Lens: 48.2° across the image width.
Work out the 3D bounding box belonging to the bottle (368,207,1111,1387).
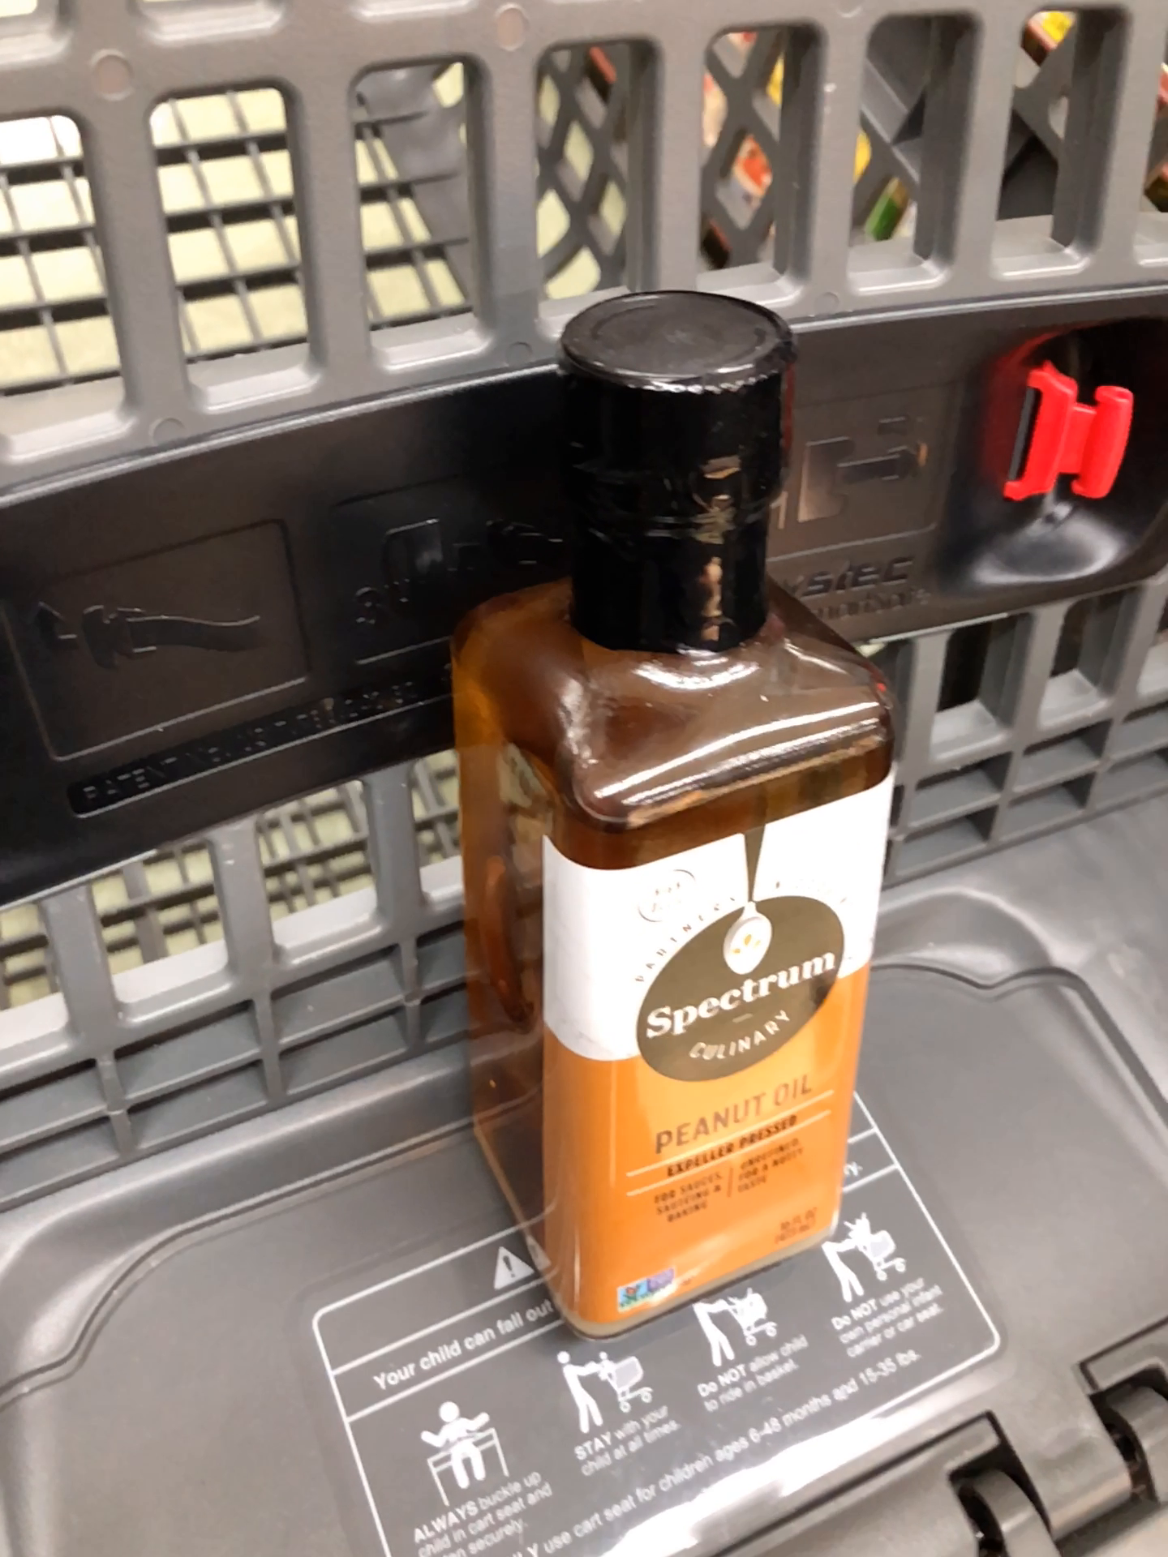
[{"bbox_3d":[0.018,0.013,0.228,0.070,0.190,0.070,-1,38,1],"label":"bottle"}]
